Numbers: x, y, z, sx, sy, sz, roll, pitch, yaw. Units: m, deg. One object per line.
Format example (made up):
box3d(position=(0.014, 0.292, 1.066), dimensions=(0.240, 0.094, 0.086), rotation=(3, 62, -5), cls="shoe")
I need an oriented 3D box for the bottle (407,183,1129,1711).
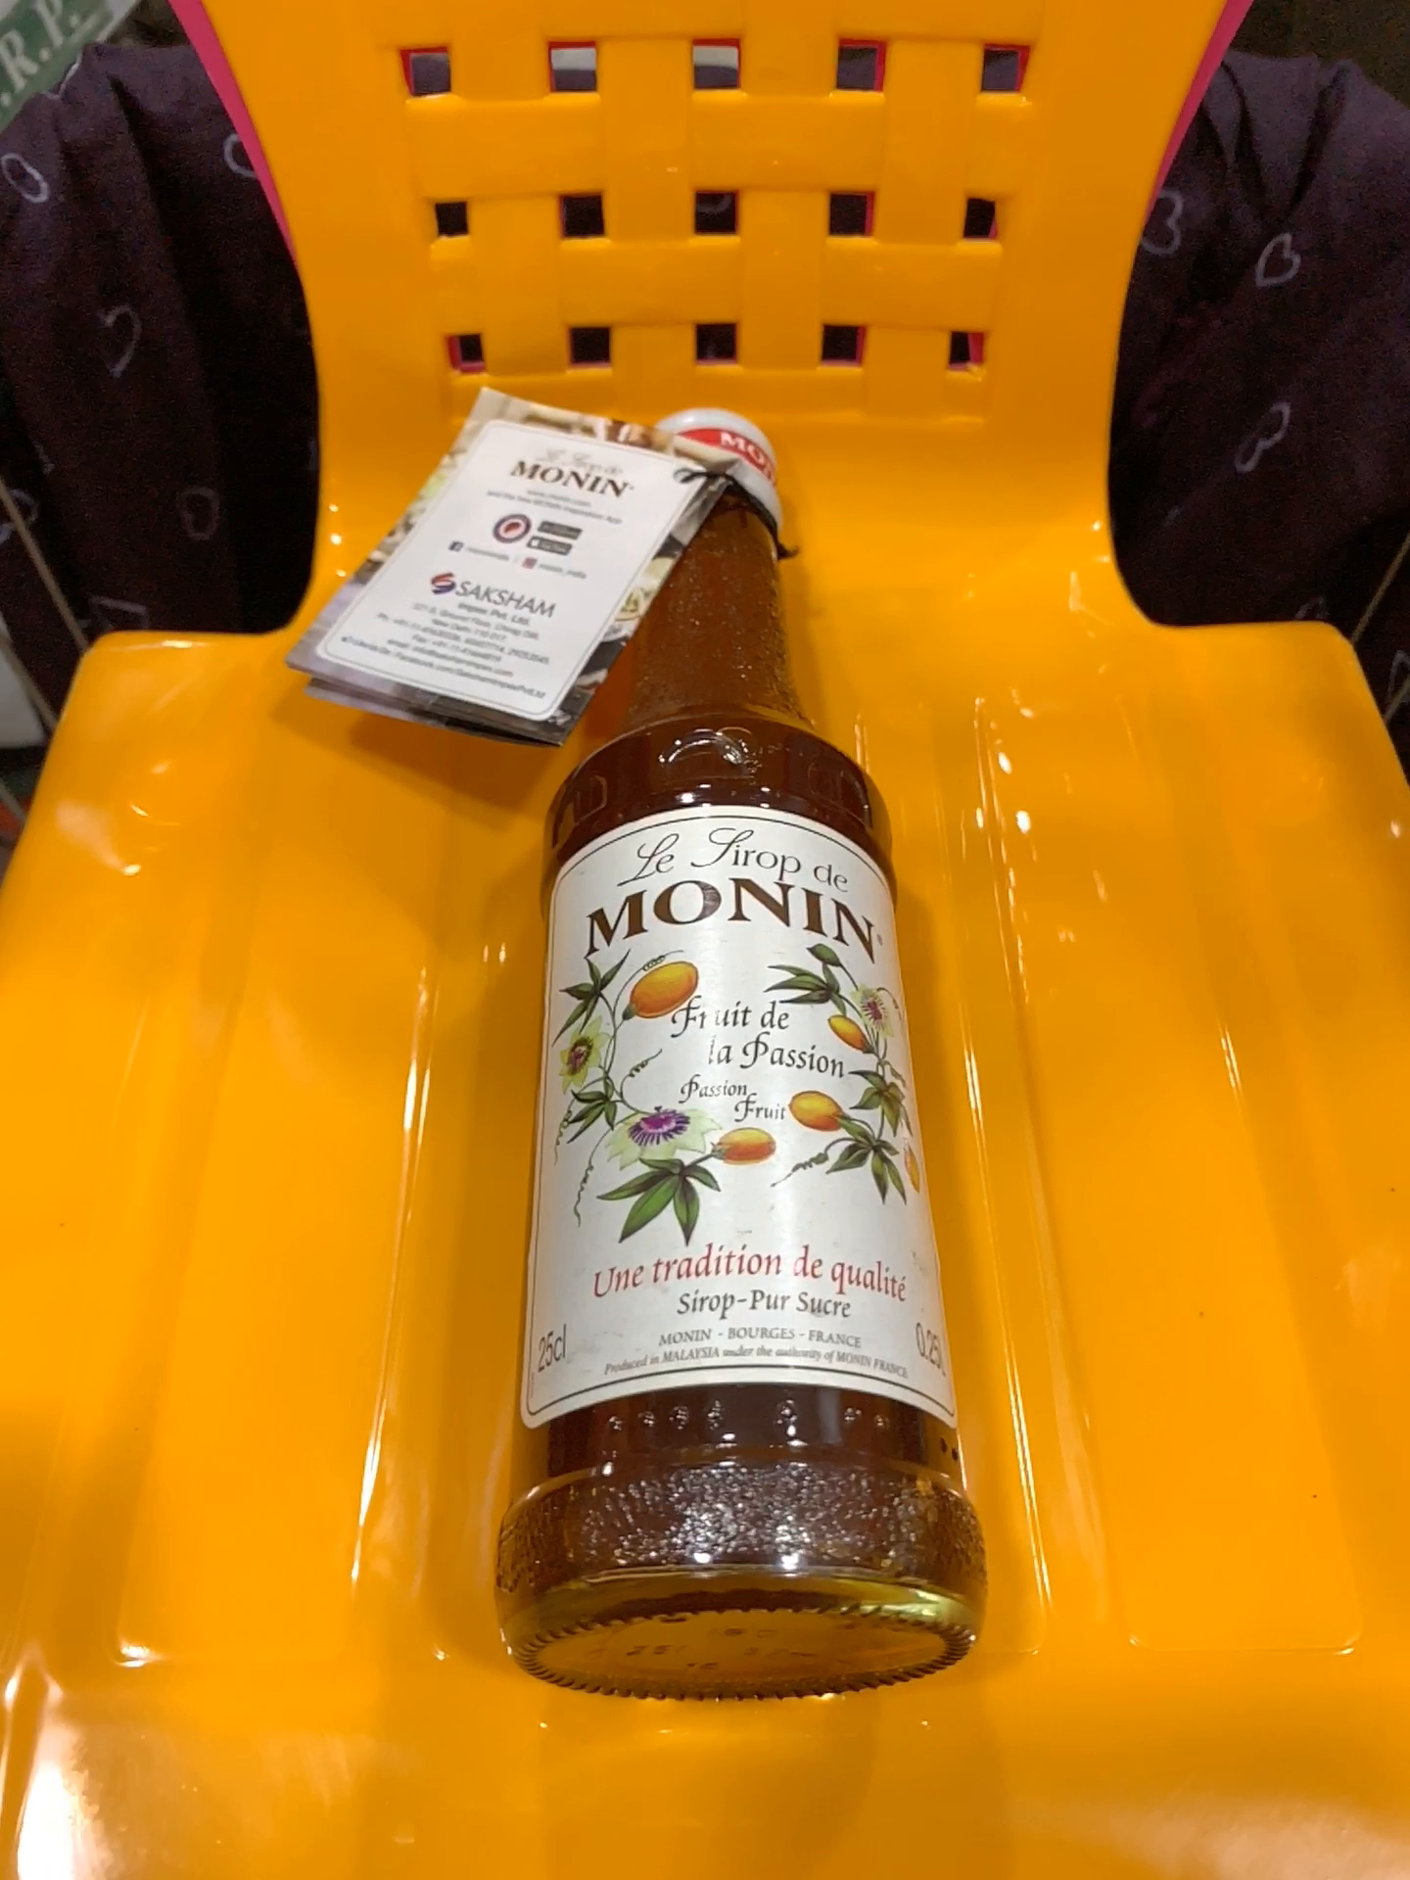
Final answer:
box3d(position=(0.004, -0.018, 0.208), dimensions=(0.060, 0.060, 0.220), rotation=(0, 56, -1), cls="bottle")
